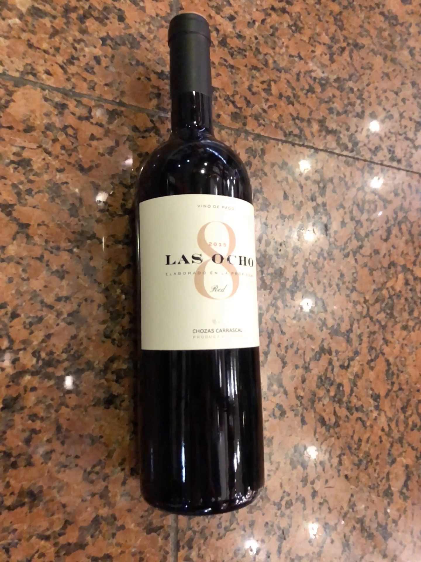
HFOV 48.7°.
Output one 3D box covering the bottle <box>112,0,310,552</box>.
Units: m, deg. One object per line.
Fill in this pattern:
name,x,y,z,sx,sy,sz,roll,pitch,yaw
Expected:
bottle,-0.004,-0.023,0.301,0.090,0.060,0.330,-1,85,-29
